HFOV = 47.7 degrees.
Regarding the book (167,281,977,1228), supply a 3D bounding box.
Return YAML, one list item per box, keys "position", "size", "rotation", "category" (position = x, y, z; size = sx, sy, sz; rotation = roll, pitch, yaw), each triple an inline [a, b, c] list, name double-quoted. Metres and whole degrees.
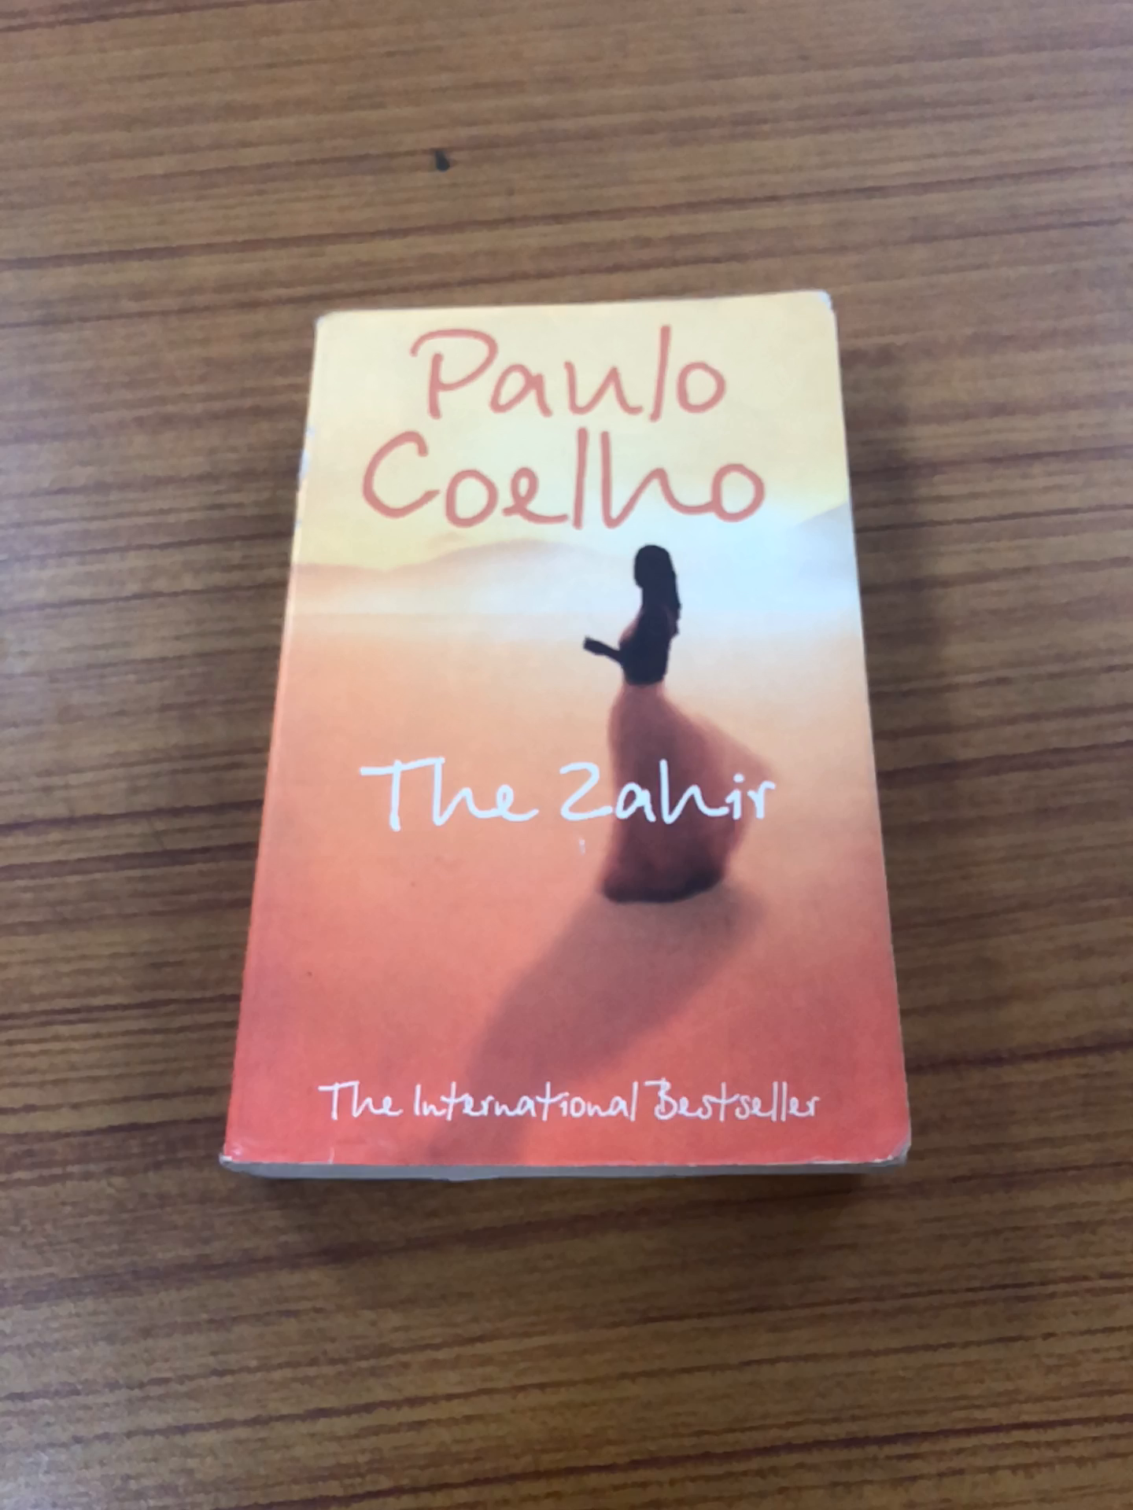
- position: [0.002, -0.007, 0.245]
  size: [0.120, 0.040, 0.180]
  rotation: [0, 65, 2]
  category: "book"
